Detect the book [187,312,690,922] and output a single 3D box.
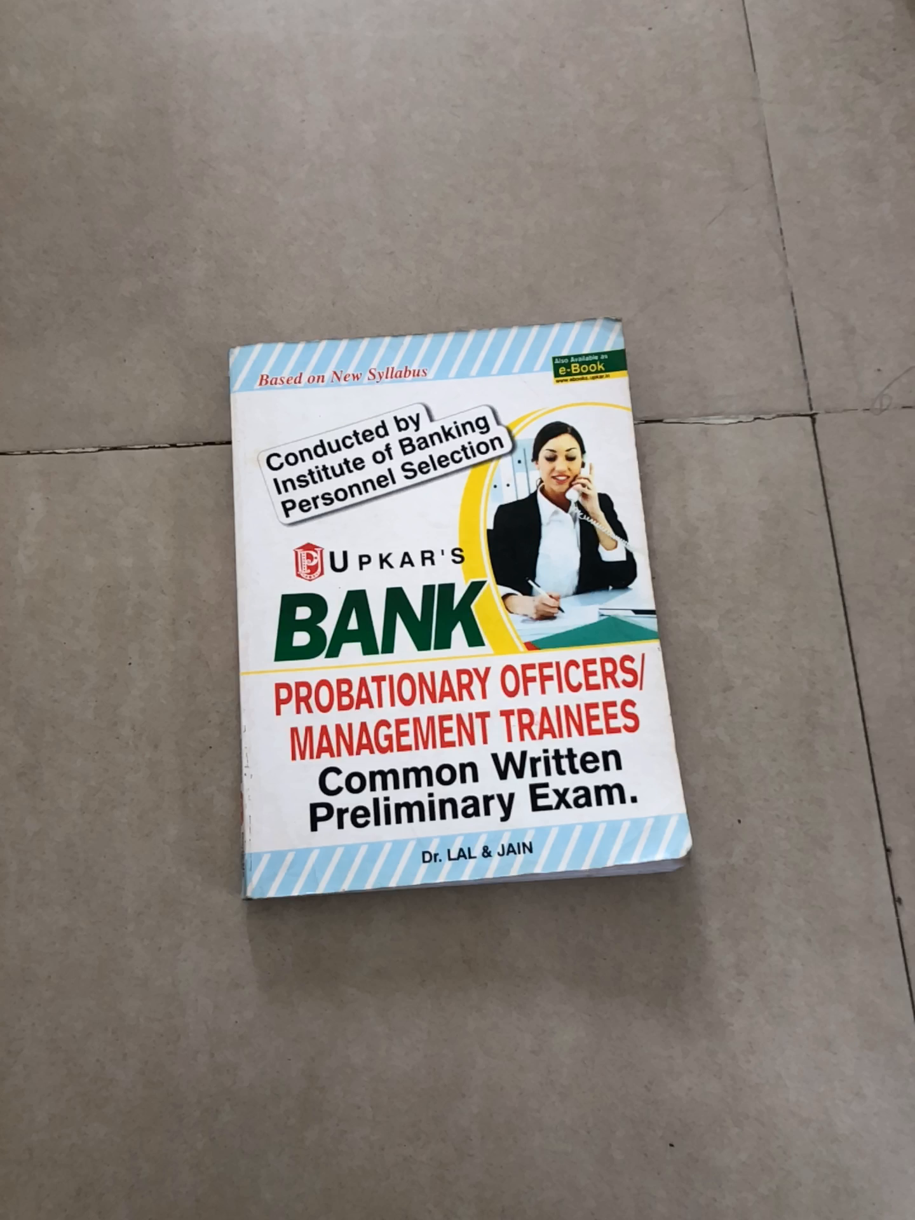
[{"bbox_3d":[-0.013,-0.002,0.410,0.180,0.040,0.230,-3,78,-3],"label":"book"}]
